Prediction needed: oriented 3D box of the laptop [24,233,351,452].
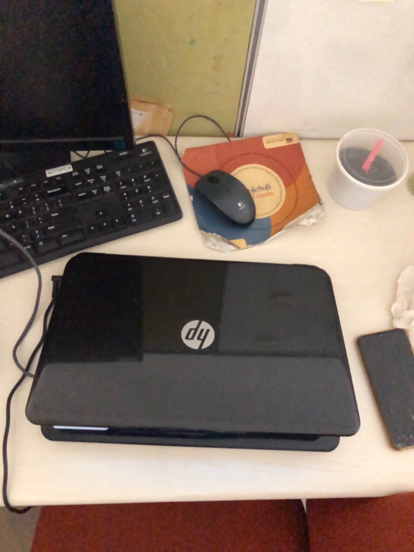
[{"bbox_3d":[-0.013,0.081,0.569,0.350,0.072,0.246,3,68,-2],"label":"laptop"}]
